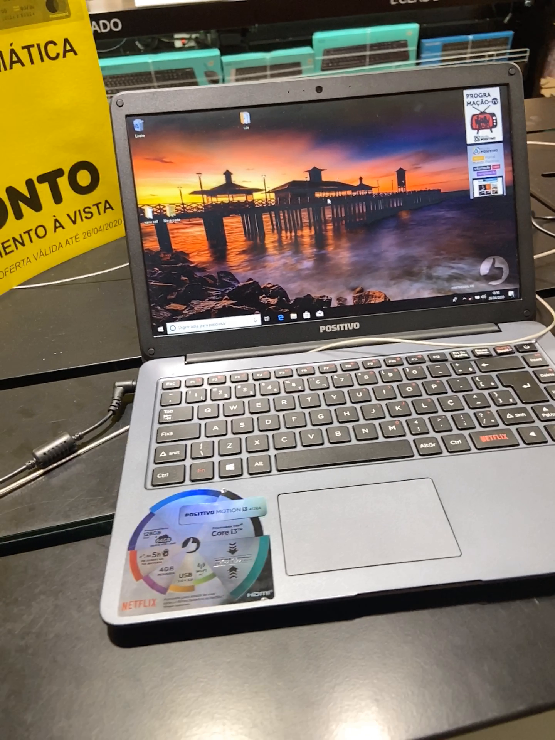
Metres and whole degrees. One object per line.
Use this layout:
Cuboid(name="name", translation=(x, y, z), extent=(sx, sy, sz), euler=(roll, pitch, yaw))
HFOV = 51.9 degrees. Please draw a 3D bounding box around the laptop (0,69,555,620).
Cuboid(name="laptop", translation=(0.056, -0.059, 0.384), extent=(0.332, 0.172, 0.343), euler=(-6, 38, -2))
